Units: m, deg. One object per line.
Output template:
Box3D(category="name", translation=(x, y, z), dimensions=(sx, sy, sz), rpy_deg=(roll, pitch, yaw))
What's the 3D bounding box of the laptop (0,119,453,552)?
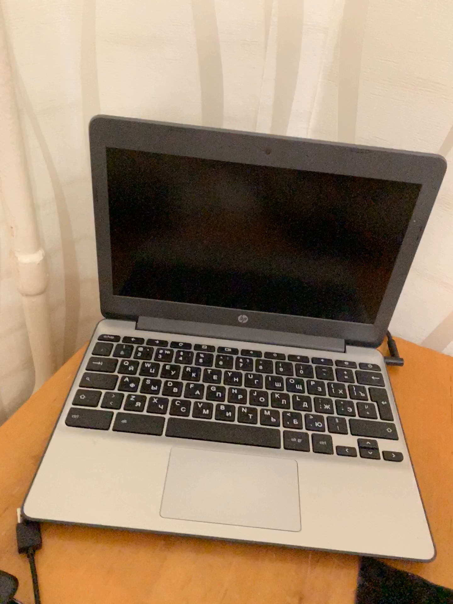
Box3D(category="laptop", translation=(0.018, 0.014, 0.331), dimensions=(0.271, 0.187, 0.207), rpy_deg=(7, 38, -1))
